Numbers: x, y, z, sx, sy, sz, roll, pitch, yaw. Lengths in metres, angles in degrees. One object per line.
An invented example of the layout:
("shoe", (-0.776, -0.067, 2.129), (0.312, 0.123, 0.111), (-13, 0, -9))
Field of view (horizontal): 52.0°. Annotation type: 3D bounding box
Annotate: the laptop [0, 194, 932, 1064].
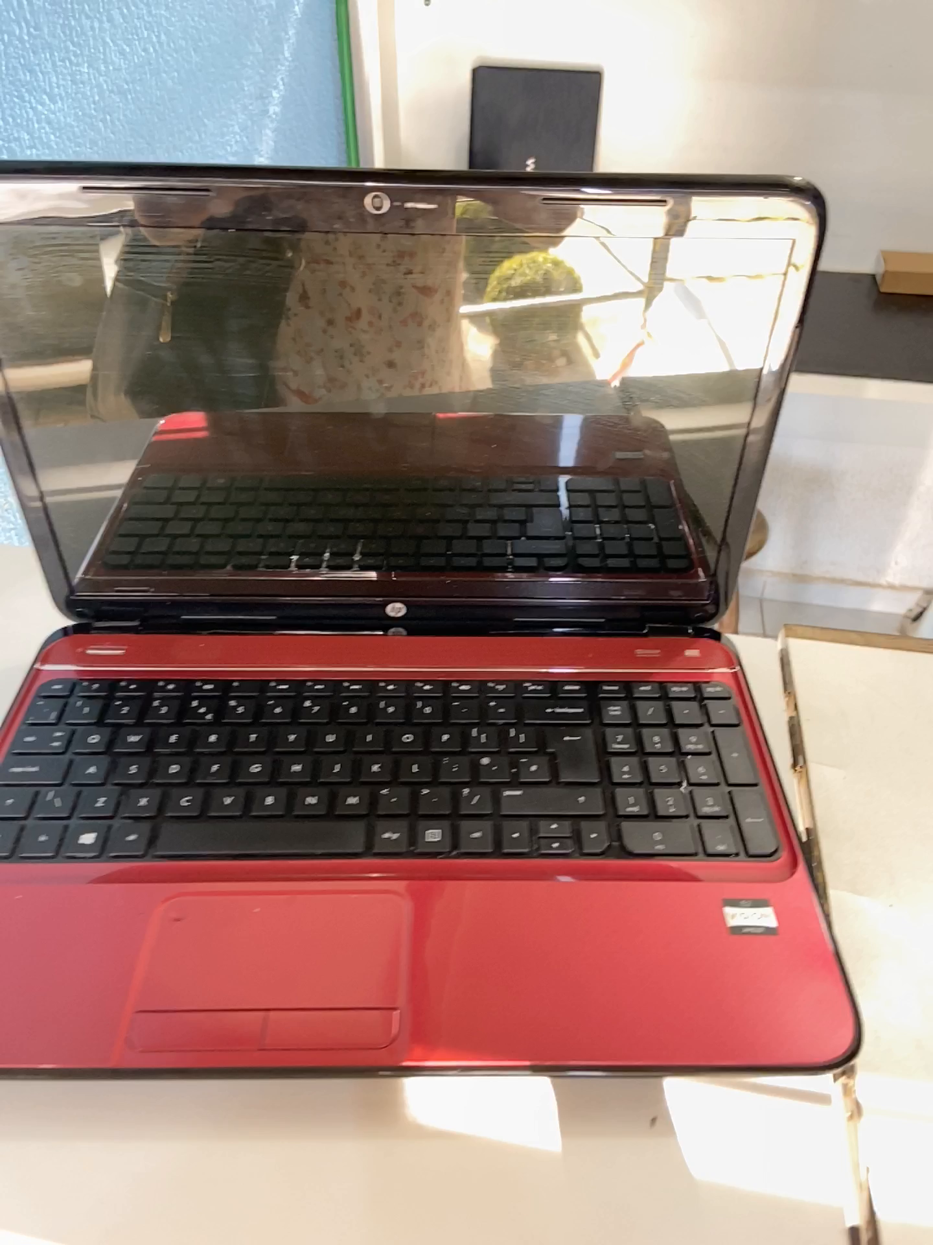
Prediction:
("laptop", (-0.040, -0.007, 0.353), (0.356, 0.220, 0.228), (0, 39, 0))
